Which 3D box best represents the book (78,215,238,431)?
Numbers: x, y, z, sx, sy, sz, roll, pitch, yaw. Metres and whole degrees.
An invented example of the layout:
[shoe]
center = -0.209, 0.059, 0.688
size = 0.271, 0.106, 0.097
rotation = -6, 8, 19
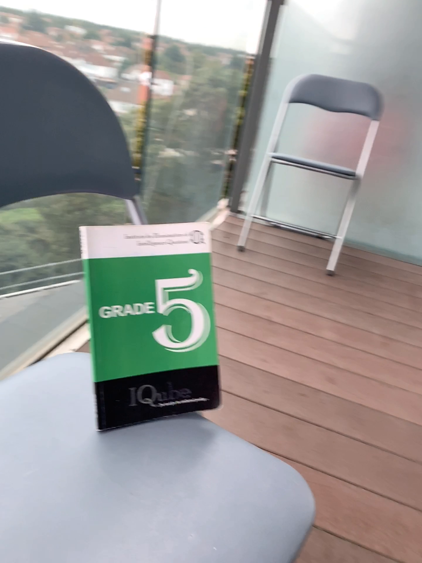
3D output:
[book]
center = -0.057, 0.037, 0.474
size = 0.150, 0.210, 0.040
rotation = -5, -2, -21
